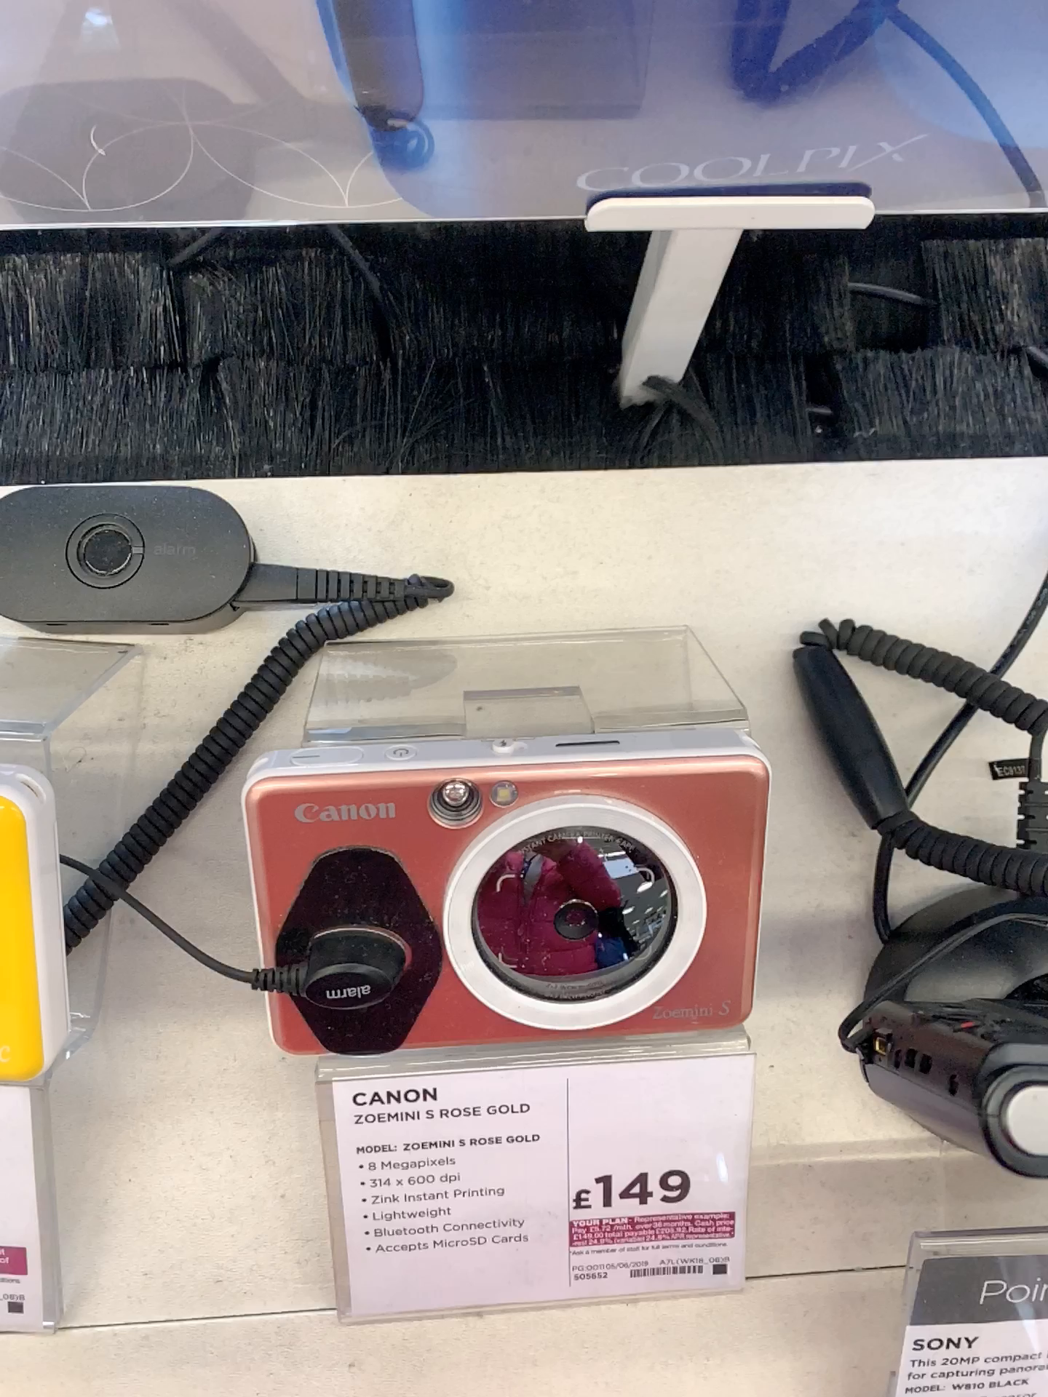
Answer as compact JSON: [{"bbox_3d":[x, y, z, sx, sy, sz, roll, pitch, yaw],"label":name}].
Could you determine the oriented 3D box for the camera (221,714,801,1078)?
[{"bbox_3d":[-0.002,0.048,0.263,0.129,0.020,0.083,-2,111,-4],"label":"camera"}]
